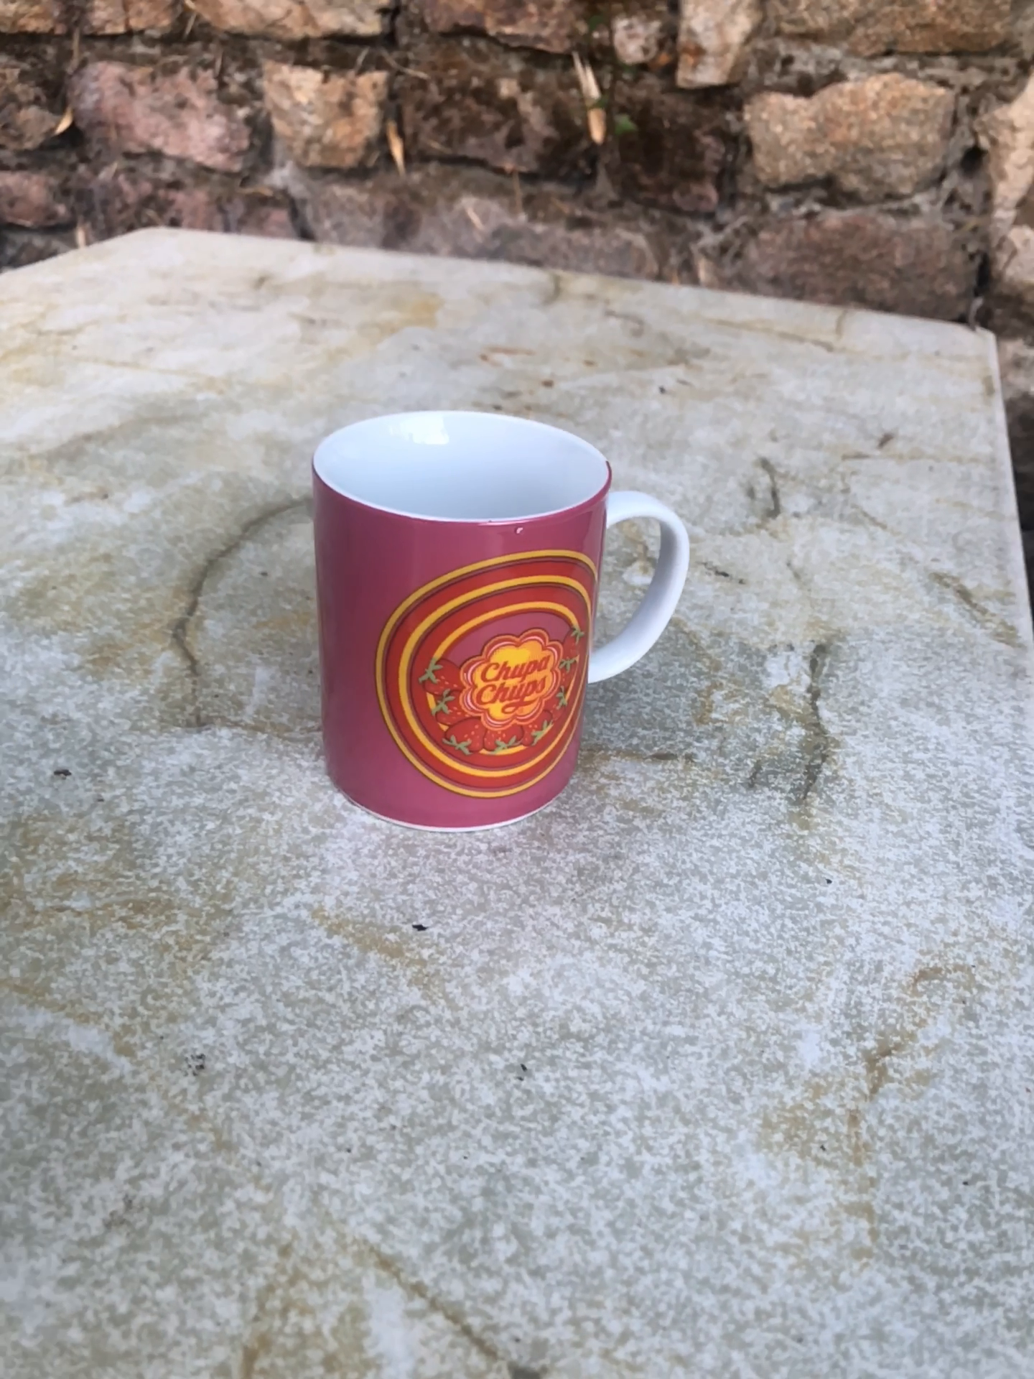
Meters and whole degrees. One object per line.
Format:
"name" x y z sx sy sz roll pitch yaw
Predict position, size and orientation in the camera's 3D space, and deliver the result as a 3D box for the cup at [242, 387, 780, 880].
"cup" -0.004 -0.022 0.317 0.116 0.089 0.077 -15 37 -25
